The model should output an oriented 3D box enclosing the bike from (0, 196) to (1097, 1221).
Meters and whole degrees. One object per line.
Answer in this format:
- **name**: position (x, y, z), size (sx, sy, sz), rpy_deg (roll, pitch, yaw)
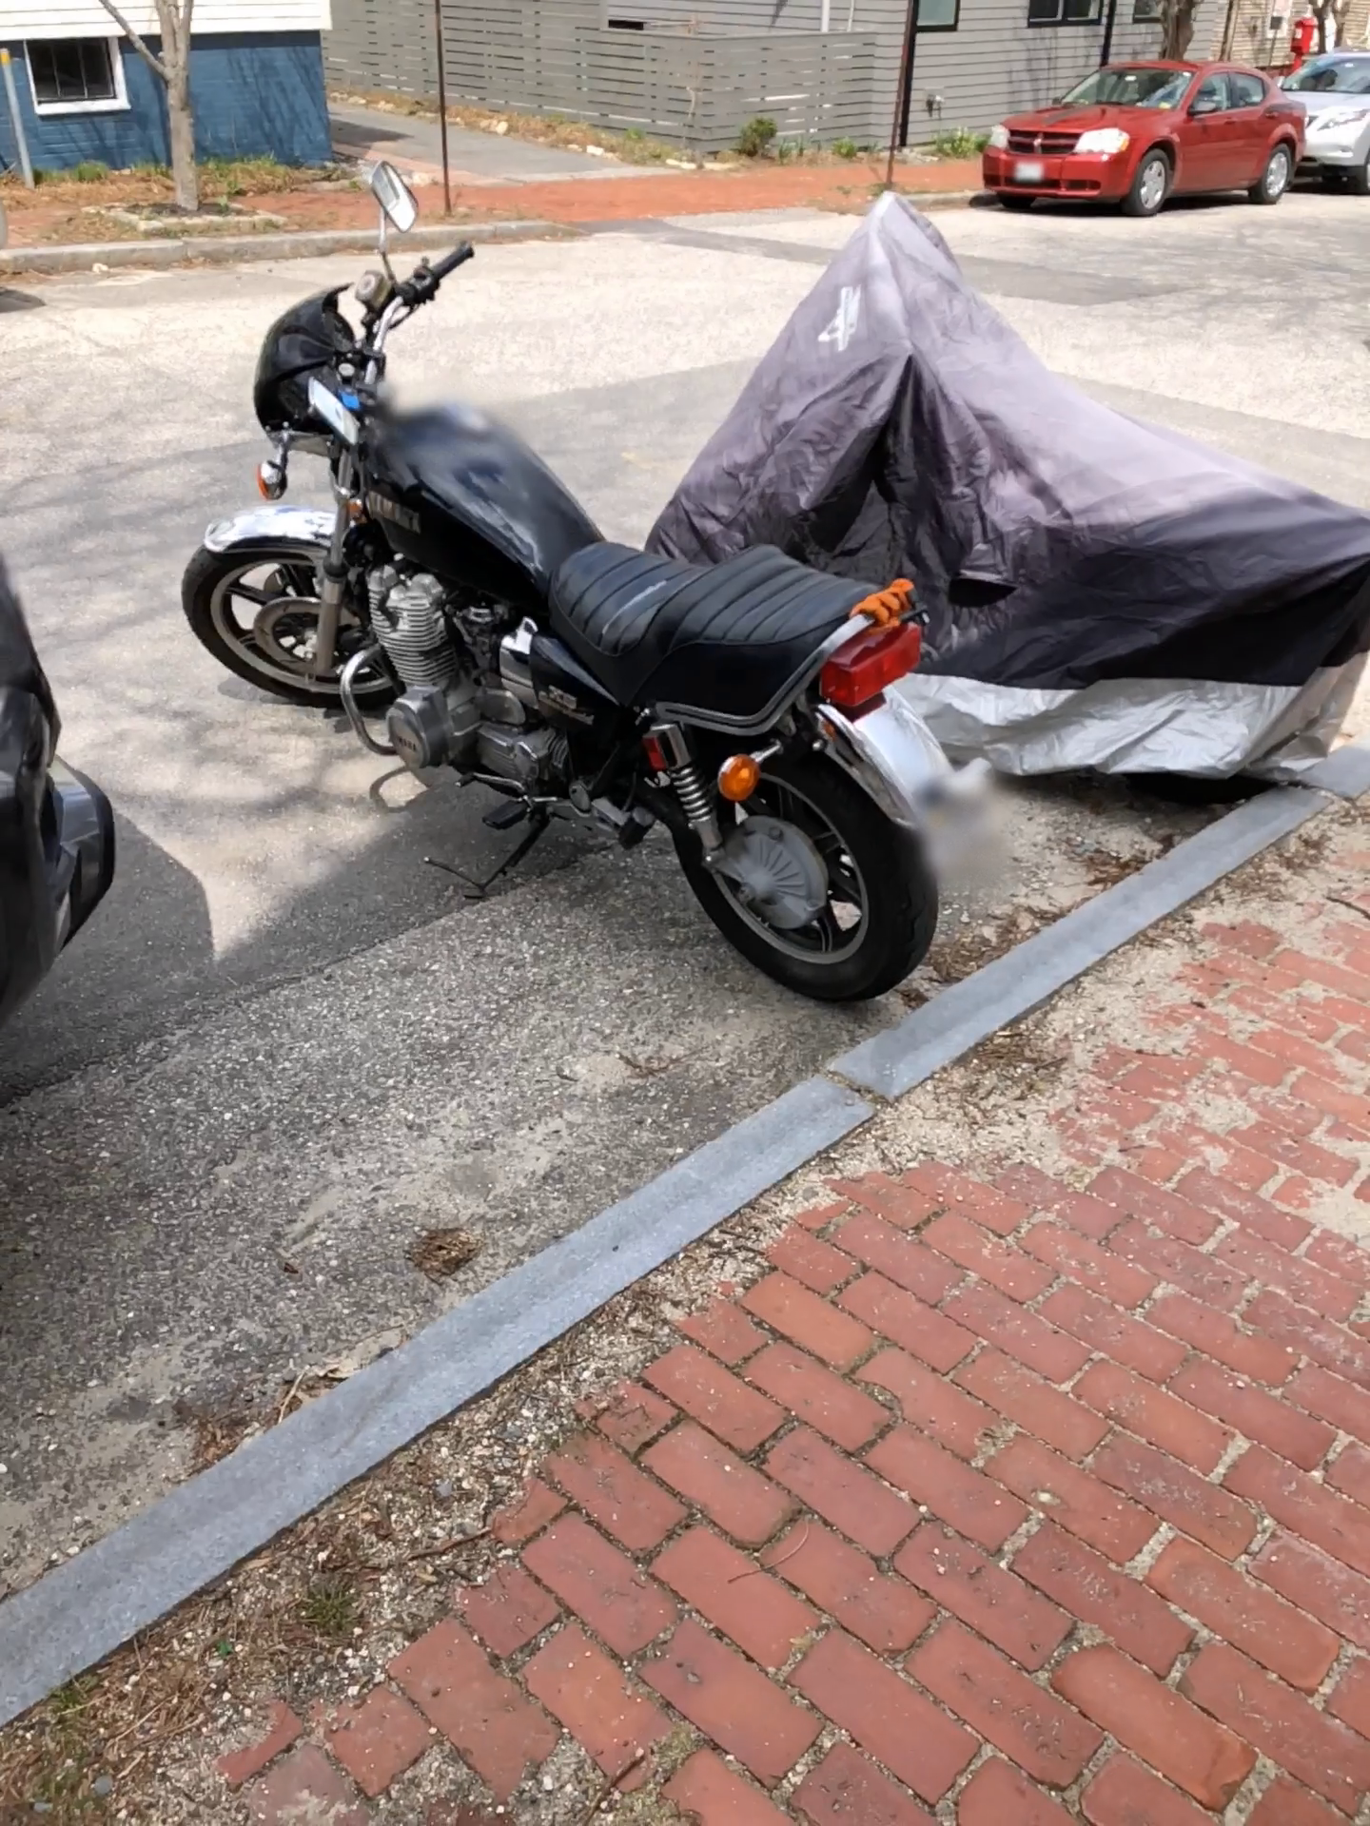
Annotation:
- **bike**: position (-0.454, -0.594, 3.169), size (2.300, 1.417, 0.689), rpy_deg (26, 41, 33)
